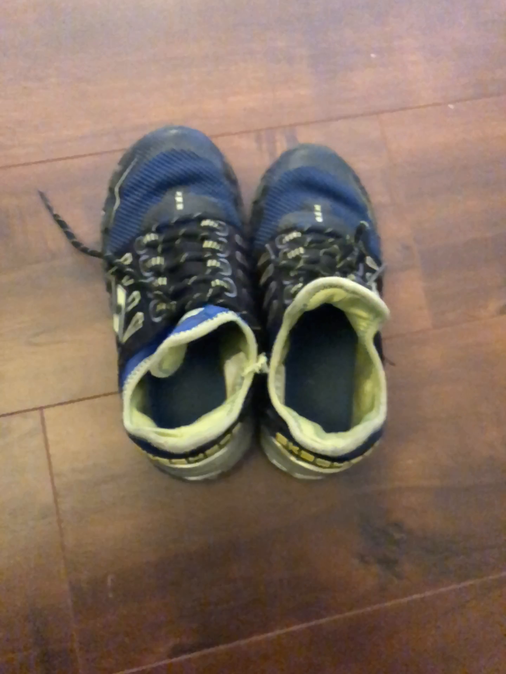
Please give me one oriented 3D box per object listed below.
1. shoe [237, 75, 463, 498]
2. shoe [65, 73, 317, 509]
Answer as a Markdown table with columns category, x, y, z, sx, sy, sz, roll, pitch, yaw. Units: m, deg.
| category | x | y | z | sx | sy | sz | roll | pitch | yaw |
| --- | --- | --- | --- | --- | --- | --- | --- | --- | --- |
| shoe | 0.049 | -0.021 | 0.339 | 0.100 | 0.120 | 0.210 | 4 | 80 | -4 |
| shoe | -0.038 | -0.021 | 0.335 | 0.100 | 0.120 | 0.210 | -7 | 81 | -6 |
